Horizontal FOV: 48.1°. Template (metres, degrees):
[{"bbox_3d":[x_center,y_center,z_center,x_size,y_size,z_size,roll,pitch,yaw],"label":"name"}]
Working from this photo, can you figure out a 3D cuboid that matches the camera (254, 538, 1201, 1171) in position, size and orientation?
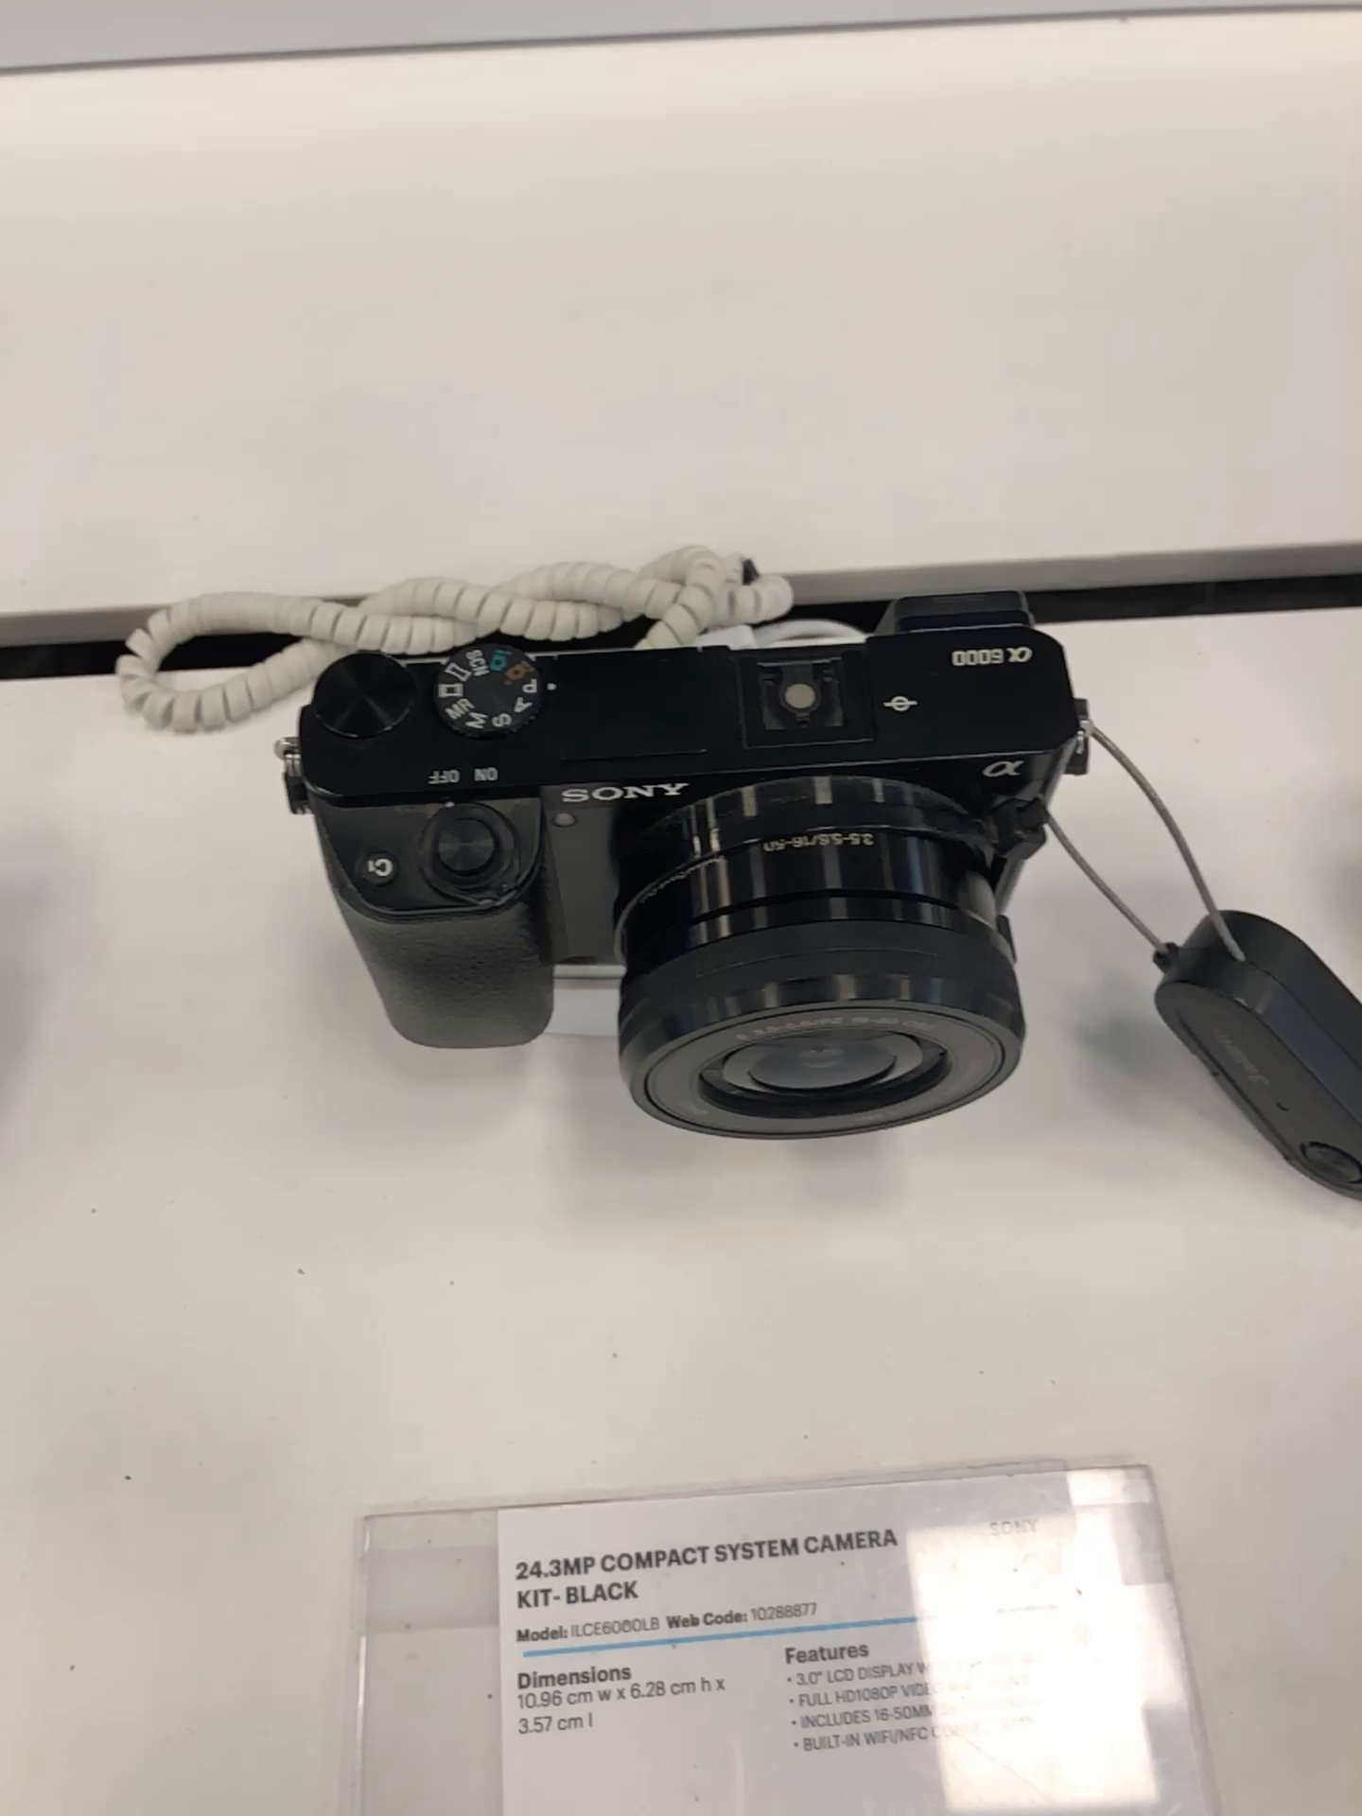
[{"bbox_3d":[0.004,-0.006,0.256,0.130,0.070,0.070,-5,62,-2],"label":"camera"}]
